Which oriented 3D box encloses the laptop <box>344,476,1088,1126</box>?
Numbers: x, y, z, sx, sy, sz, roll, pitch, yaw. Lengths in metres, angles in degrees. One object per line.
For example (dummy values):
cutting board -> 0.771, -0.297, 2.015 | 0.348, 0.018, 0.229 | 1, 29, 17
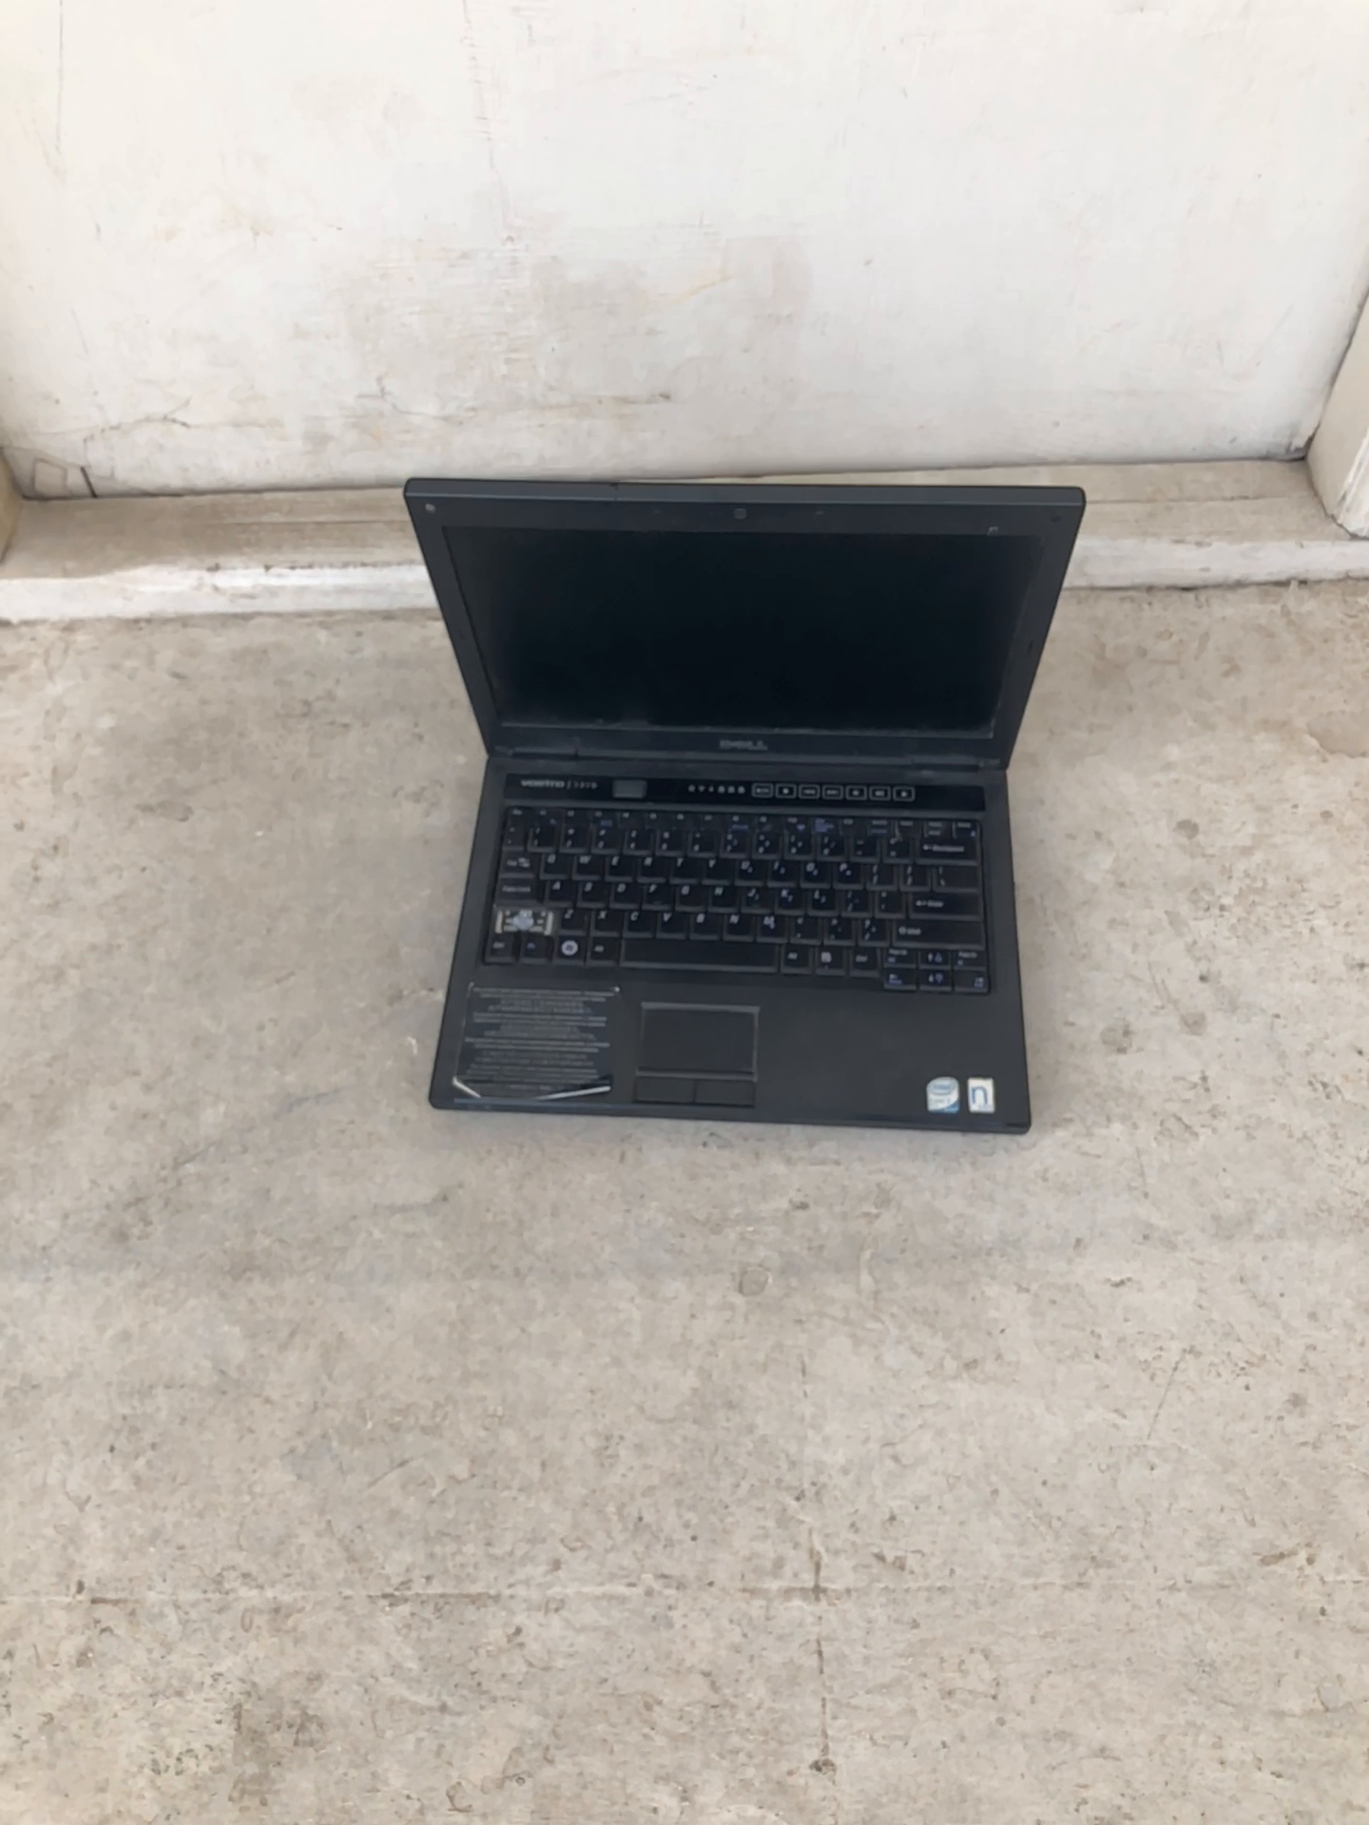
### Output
laptop -> 0.020, -0.049, 0.740 | 0.292, 0.219, 0.214 | 2, 58, 4
